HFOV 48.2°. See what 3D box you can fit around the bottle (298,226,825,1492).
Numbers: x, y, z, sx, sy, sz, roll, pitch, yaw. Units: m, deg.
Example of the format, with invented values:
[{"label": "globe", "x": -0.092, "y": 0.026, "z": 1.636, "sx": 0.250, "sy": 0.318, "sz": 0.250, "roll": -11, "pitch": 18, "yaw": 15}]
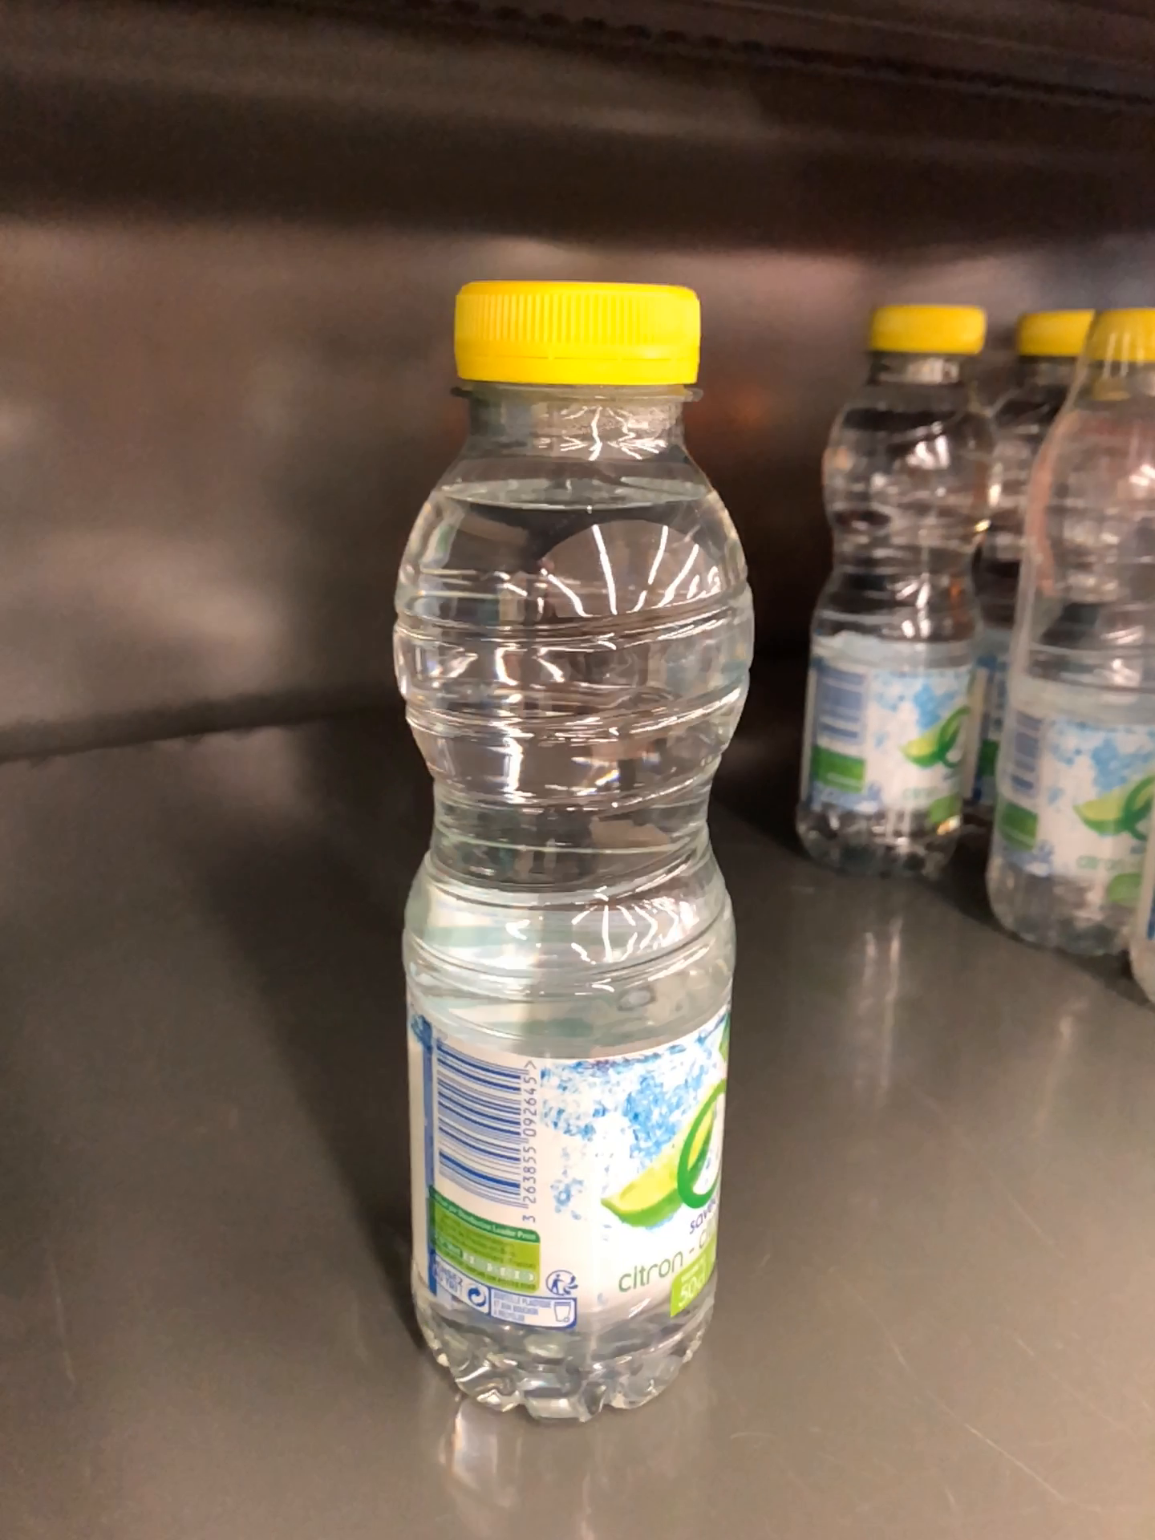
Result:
[{"label": "bottle", "x": 0.000, "y": 0.015, "z": 0.242, "sx": 0.060, "sy": 0.209, "sz": 0.070, "roll": 9, "pitch": 19, "yaw": 27}]
